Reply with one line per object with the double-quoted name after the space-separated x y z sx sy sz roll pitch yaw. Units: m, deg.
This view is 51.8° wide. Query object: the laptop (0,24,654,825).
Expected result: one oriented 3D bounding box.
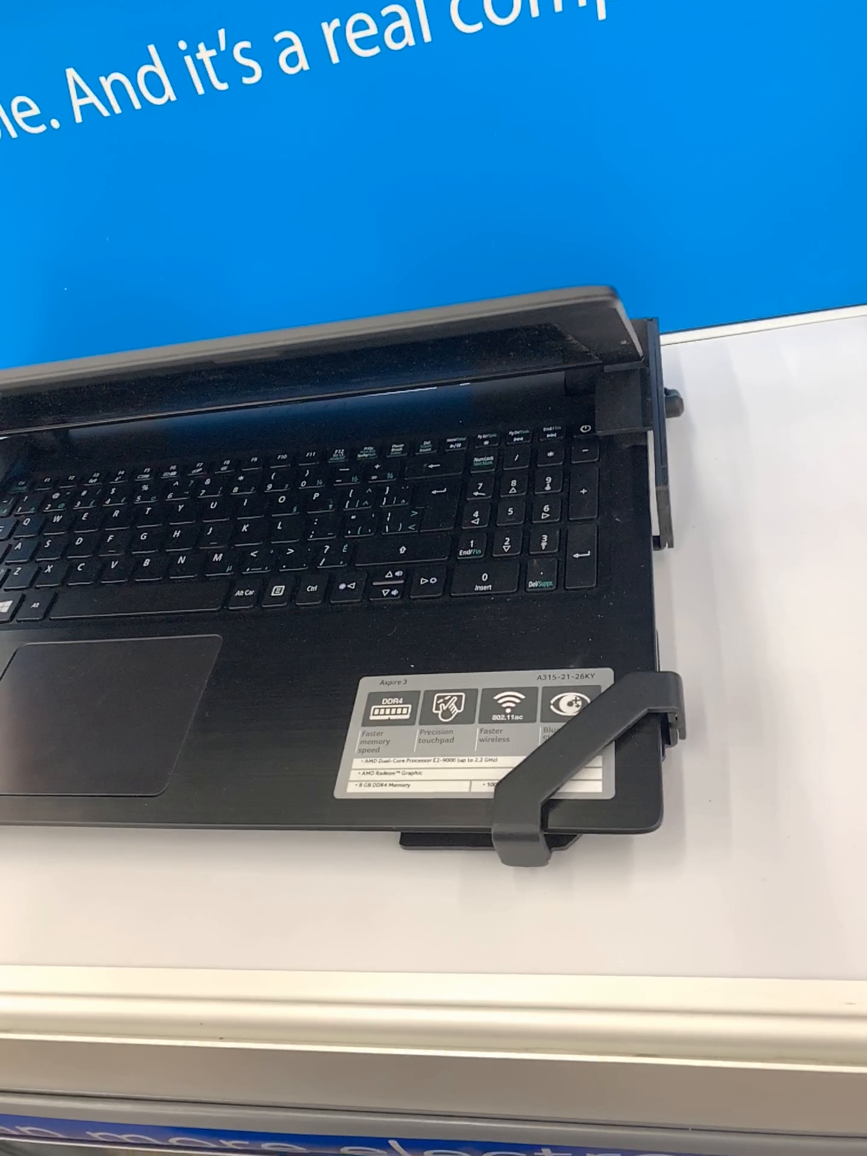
-0.109 -0.050 0.349 0.365 0.146 0.234 -4 49 15 "laptop"
